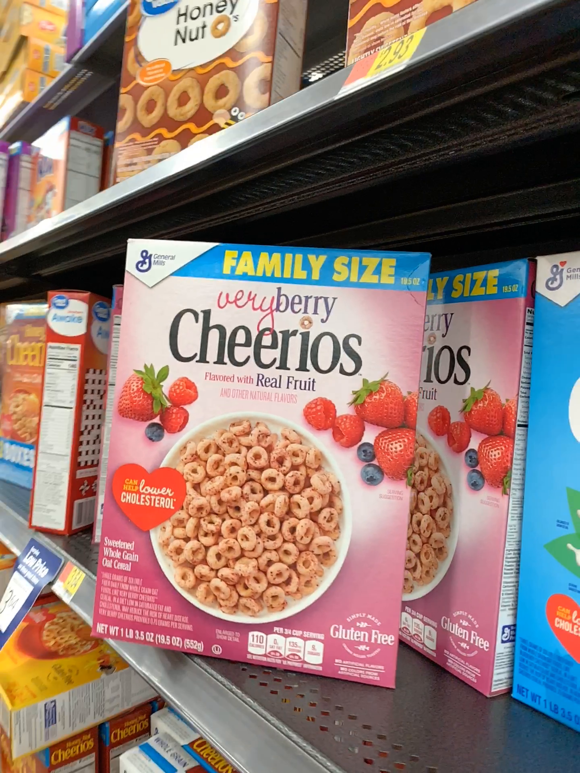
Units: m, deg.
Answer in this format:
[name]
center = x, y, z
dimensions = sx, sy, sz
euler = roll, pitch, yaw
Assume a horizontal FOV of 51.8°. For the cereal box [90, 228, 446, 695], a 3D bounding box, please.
[cereal box]
center = -0.016, 0.046, 0.472
dimensions = 0.240, 0.320, 0.060
euler = 5, -2, 11
